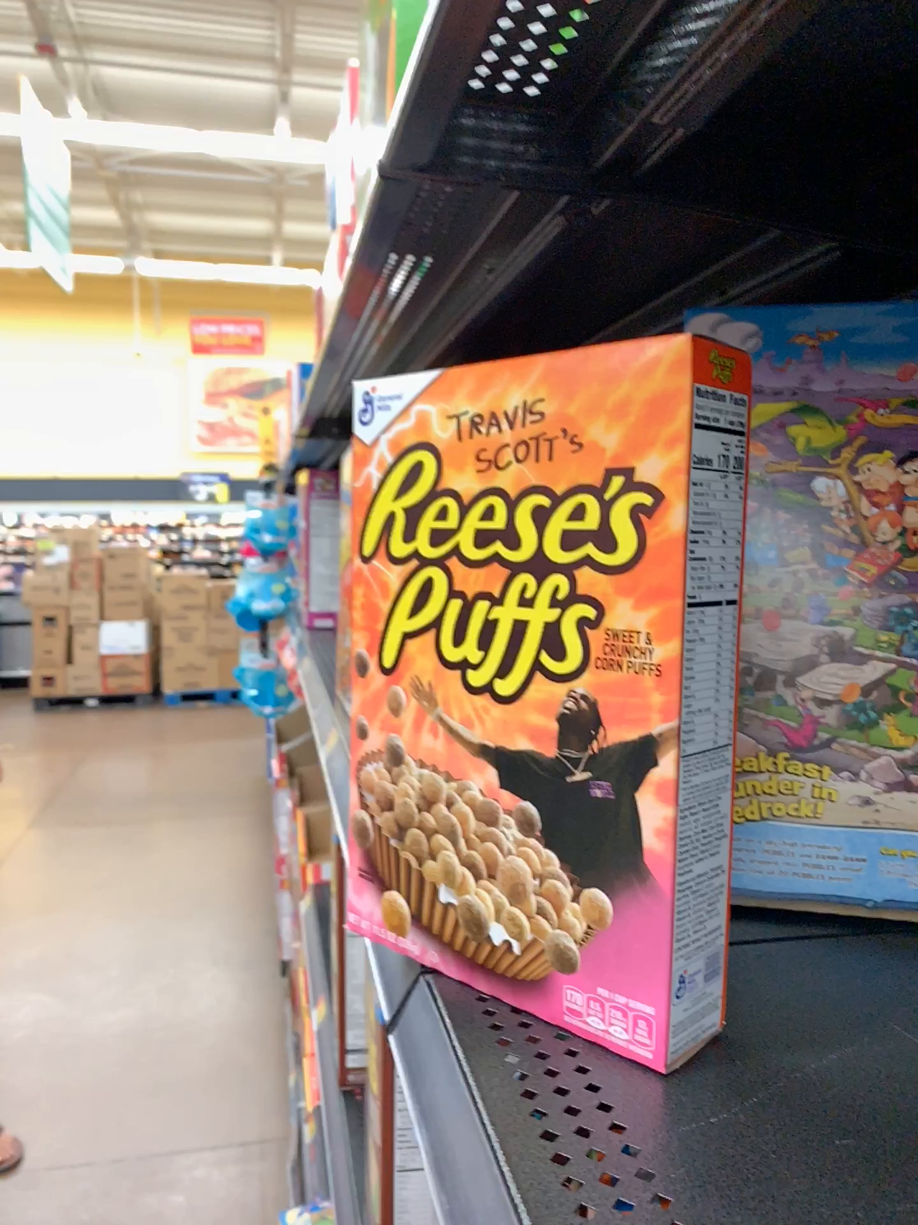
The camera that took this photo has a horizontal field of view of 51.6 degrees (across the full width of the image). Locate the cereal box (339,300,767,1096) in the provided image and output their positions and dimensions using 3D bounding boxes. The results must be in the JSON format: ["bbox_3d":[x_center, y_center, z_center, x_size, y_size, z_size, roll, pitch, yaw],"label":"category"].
[{"bbox_3d":[0.030,0.027,0.432,0.200,0.290,0.050,4,4,45],"label":"cereal box"}]
